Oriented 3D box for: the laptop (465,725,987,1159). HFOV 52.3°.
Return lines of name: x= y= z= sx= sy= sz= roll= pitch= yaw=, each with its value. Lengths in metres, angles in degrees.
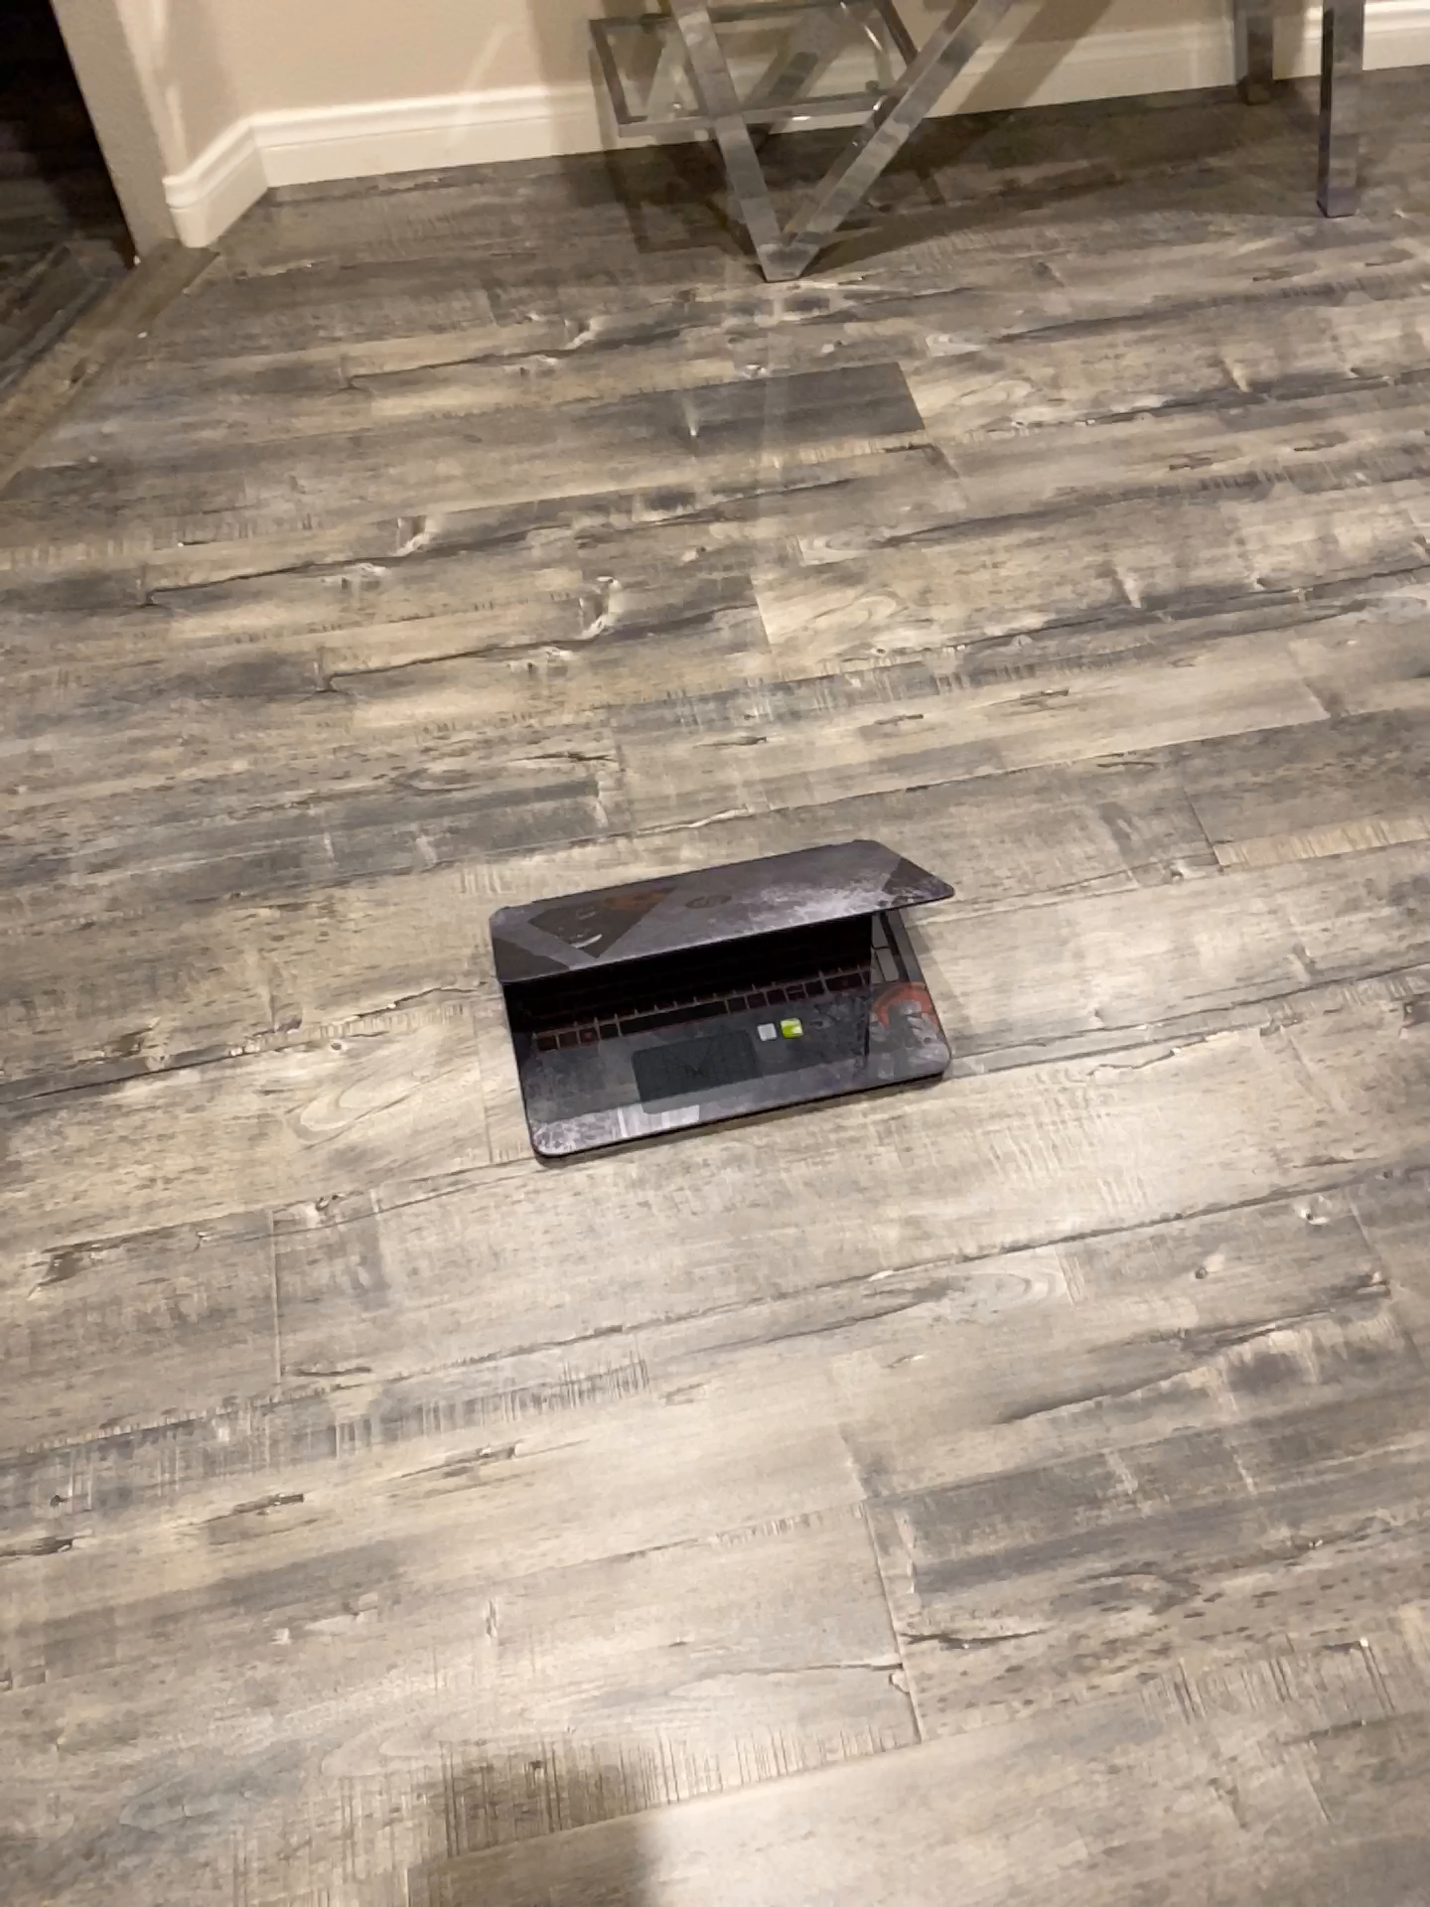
laptop: x=0.001 y=-0.012 z=1.255 sx=0.374 sy=0.177 sz=0.251 roll=-11 pitch=58 yaw=-8
